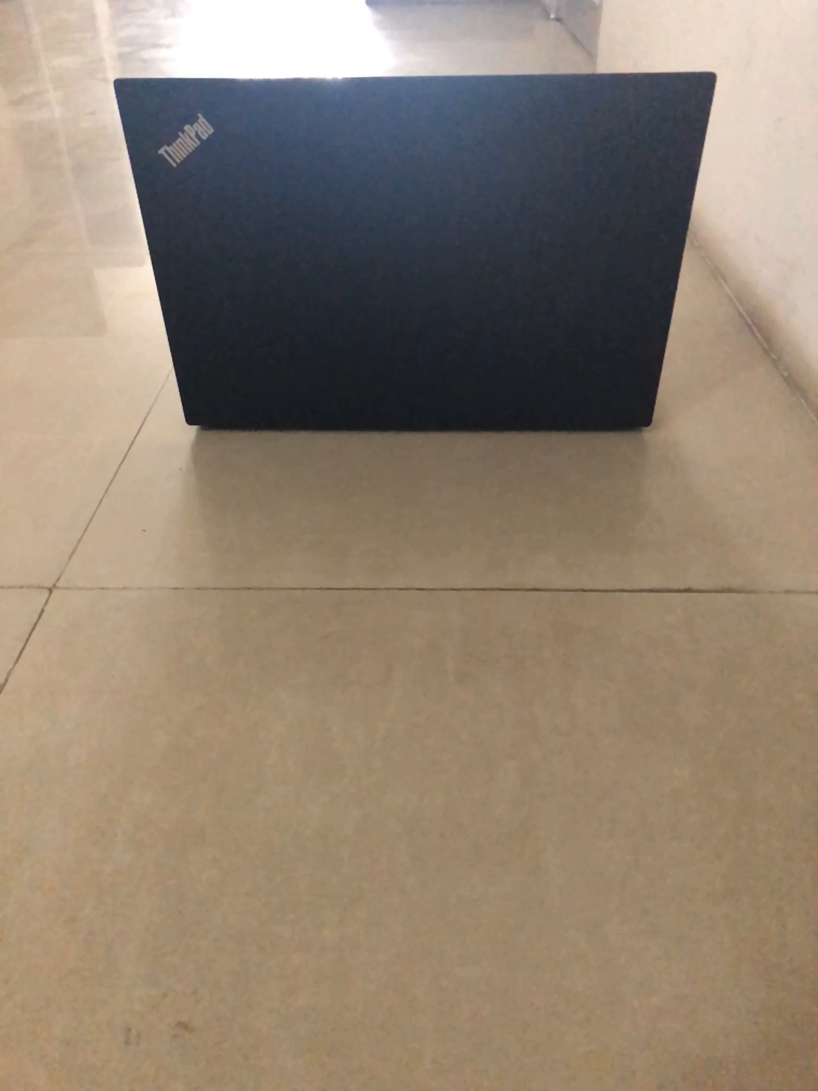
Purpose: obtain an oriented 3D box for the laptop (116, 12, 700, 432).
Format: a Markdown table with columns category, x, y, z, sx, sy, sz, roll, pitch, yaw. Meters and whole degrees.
| category | x | y | z | sx | sy | sz | roll | pitch | yaw |
| --- | --- | --- | --- | --- | --- | --- | --- | --- | --- |
| laptop | 0.006 | -0.265 | 0.716 | 0.353 | 0.240 | 0.256 | 1 | 38 | 2 |
